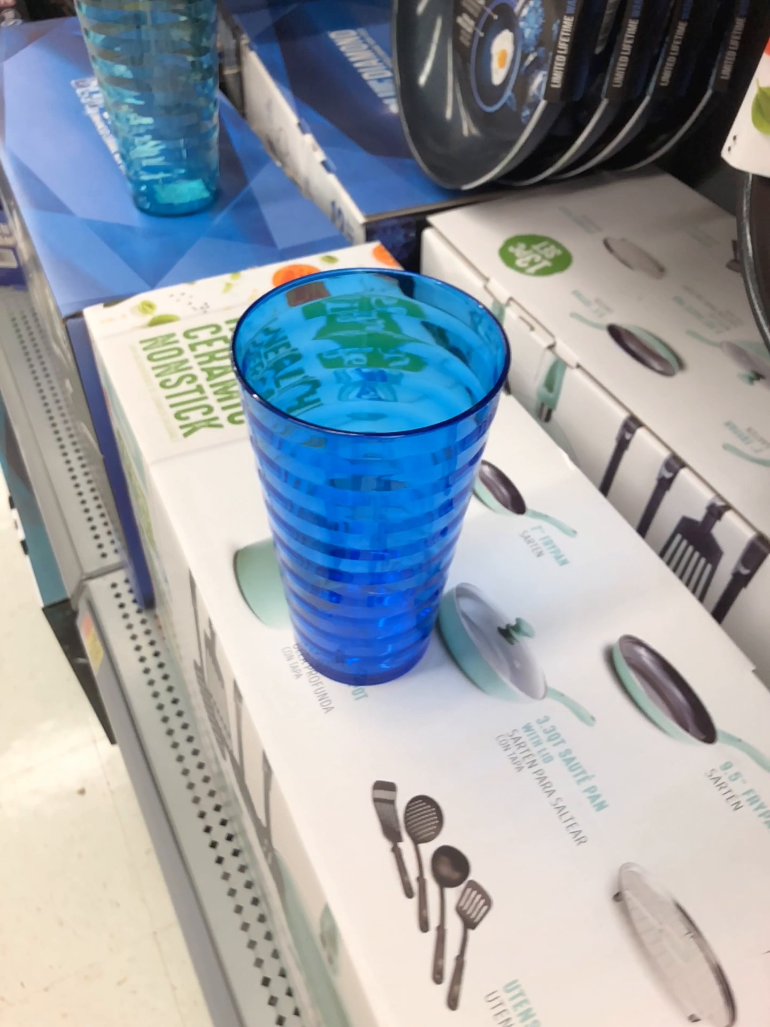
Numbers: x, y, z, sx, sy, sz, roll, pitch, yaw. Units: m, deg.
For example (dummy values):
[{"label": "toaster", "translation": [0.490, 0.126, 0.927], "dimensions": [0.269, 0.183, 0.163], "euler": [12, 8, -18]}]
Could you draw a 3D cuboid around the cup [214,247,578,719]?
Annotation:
[{"label": "cup", "translation": [-0.002, -0.007, 0.308], "dimensions": [0.091, 0.134, 0.088], "euler": [0, 48, 0]}]
